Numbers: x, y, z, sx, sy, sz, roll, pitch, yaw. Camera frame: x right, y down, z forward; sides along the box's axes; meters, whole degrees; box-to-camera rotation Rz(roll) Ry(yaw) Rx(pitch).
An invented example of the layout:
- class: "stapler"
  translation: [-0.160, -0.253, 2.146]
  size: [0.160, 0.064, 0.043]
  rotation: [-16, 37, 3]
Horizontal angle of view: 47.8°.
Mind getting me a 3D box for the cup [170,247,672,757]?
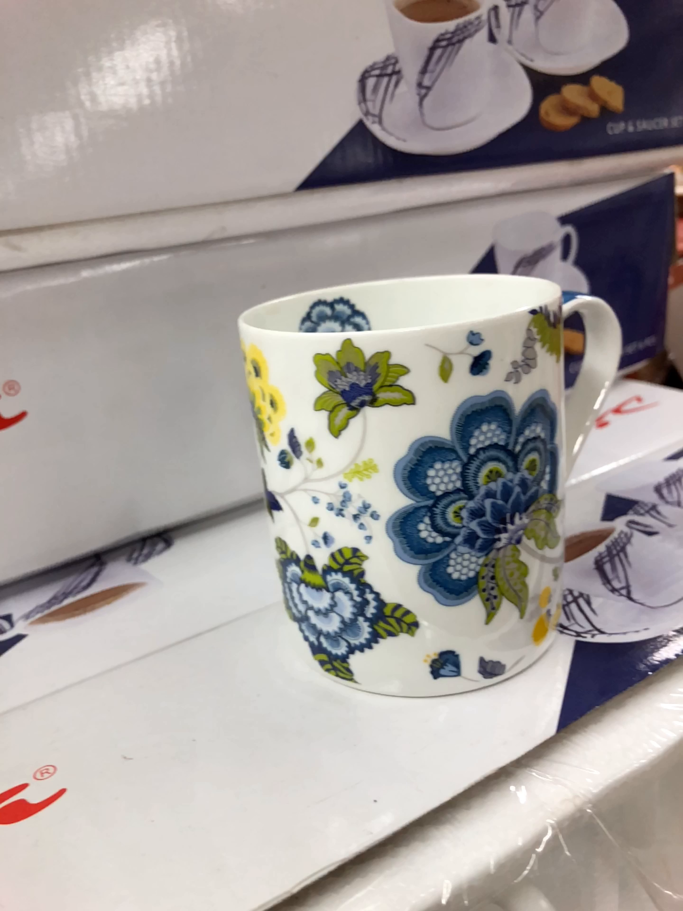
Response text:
- class: "cup"
  translation: [0.024, -0.001, 0.201]
  size: [0.100, 0.090, 0.070]
  rotation: [-20, 25, -35]
